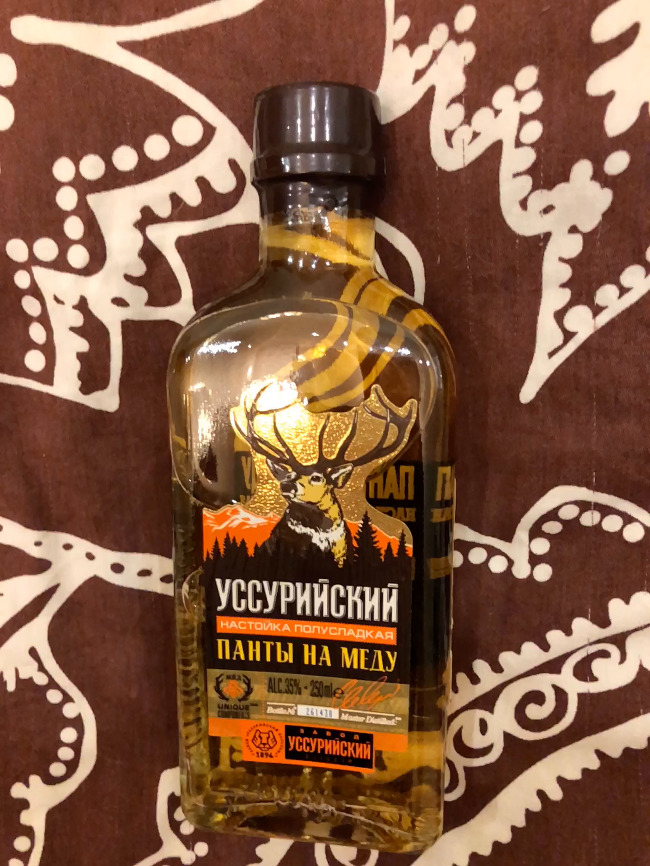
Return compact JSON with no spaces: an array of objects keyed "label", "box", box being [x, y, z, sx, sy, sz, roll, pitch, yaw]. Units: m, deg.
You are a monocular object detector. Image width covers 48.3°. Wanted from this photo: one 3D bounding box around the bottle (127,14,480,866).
[{"label":"bottle","box":[-0.002,0.012,0.178,0.070,0.050,0.190,2,98,10]}]
